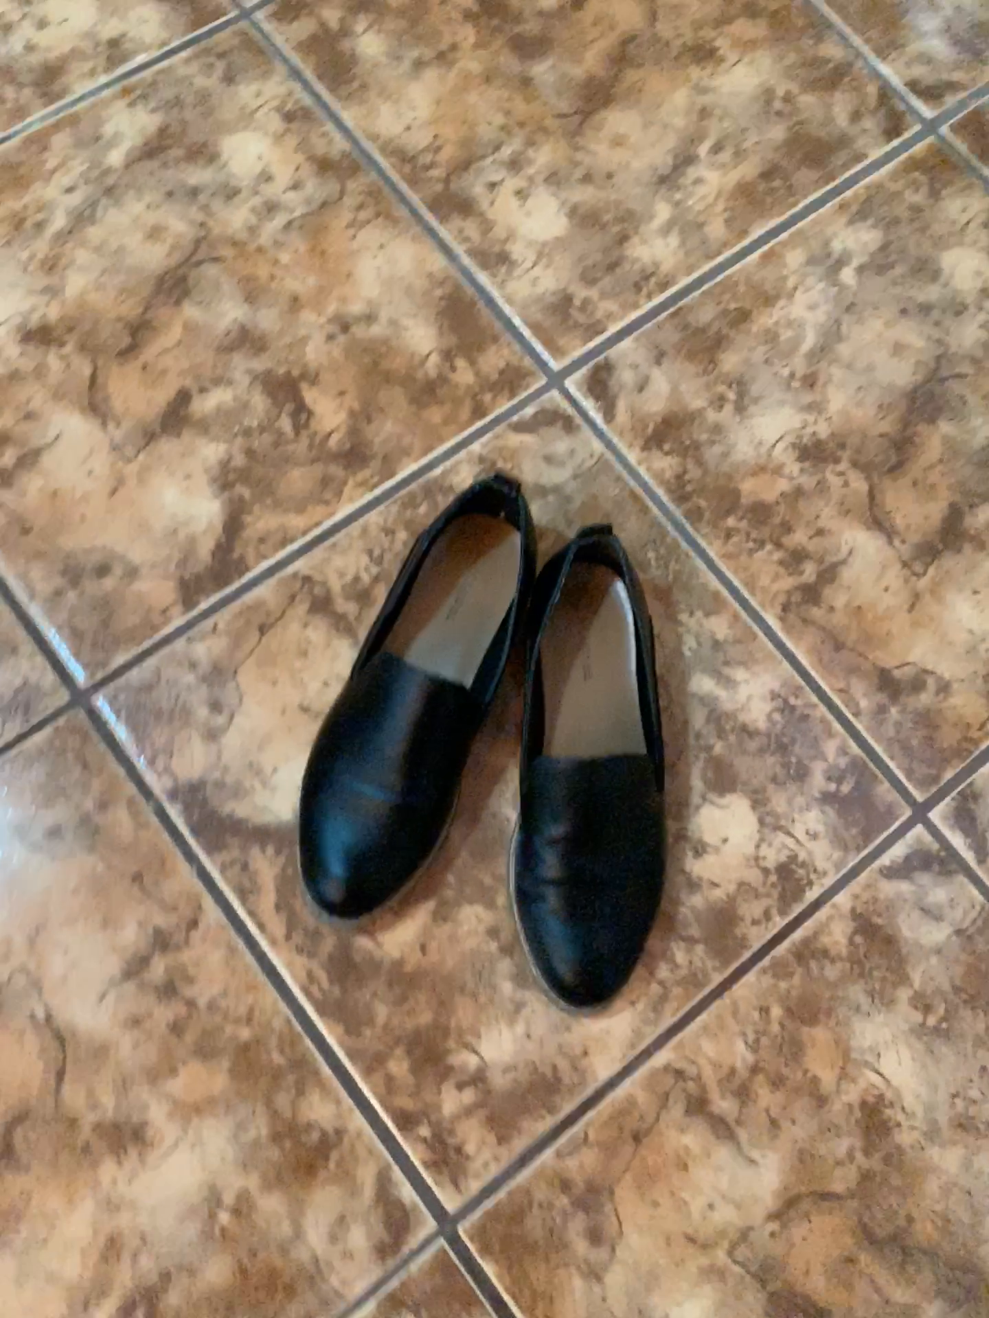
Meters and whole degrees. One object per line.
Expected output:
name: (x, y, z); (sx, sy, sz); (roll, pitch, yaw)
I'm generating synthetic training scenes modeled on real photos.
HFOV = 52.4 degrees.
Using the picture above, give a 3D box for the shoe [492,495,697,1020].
shoe: (0.048, 0.049, 0.522); (0.088, 0.070, 0.255); (3, 74, -4)

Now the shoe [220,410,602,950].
shoe: (-0.036, 0.009, 0.516); (0.086, 0.070, 0.256); (23, 73, 2)
